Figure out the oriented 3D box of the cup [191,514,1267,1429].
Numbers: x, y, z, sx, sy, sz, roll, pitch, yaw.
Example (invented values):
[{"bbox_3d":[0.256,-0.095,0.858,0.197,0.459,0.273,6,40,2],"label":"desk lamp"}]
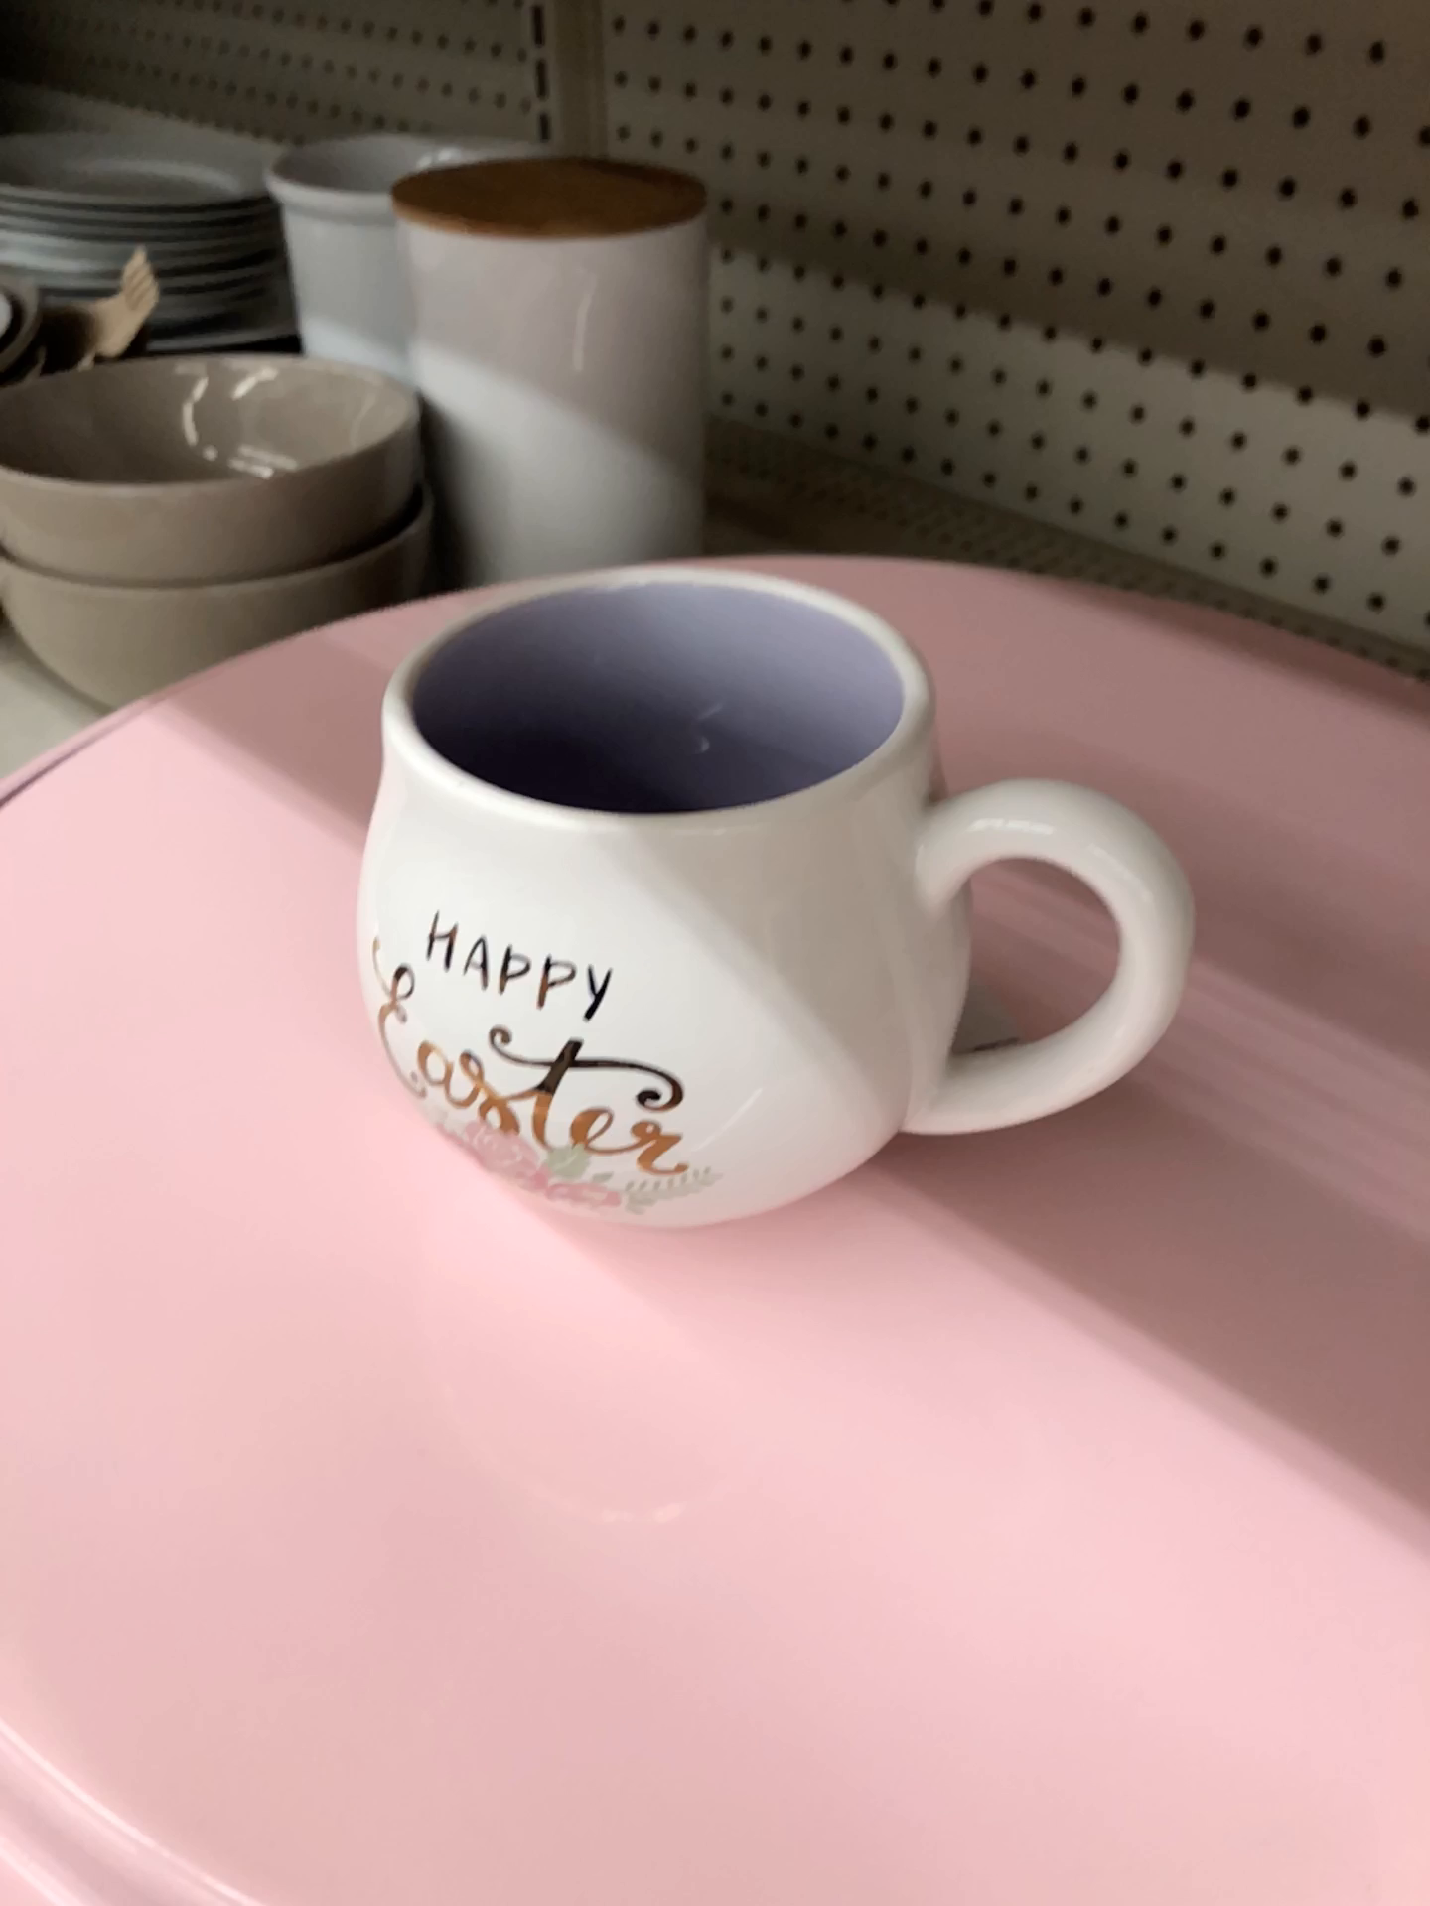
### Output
[{"bbox_3d":[0.006,-0.006,0.256,0.130,0.080,0.090,15,40,19],"label":"cup"}]
